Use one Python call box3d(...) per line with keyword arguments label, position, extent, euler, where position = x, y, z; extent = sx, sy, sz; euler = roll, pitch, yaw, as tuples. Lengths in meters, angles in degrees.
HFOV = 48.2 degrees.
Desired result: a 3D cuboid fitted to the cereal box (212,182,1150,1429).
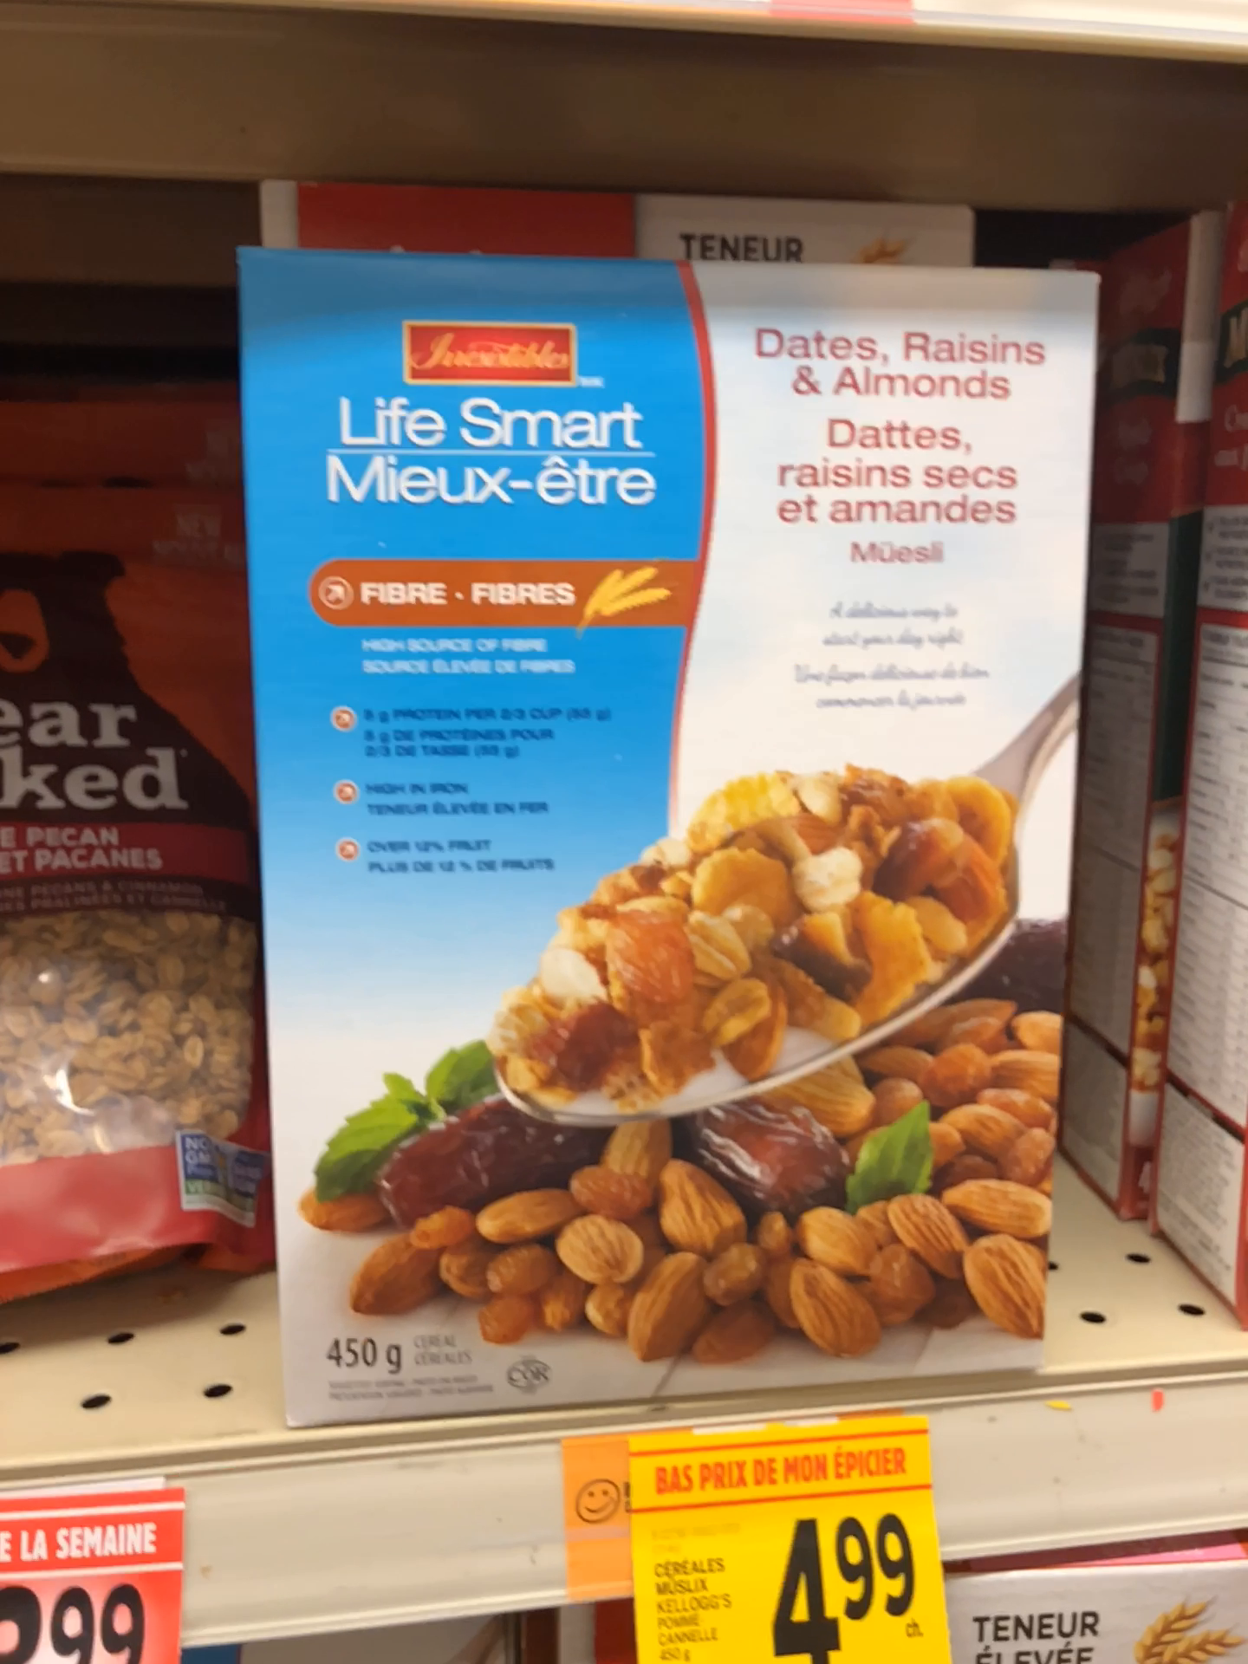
box3d(label="cereal box", position=(0.010, -0.002, 0.297), extent=(0.170, 0.239, 0.050), euler=(-1, 11, -6))
